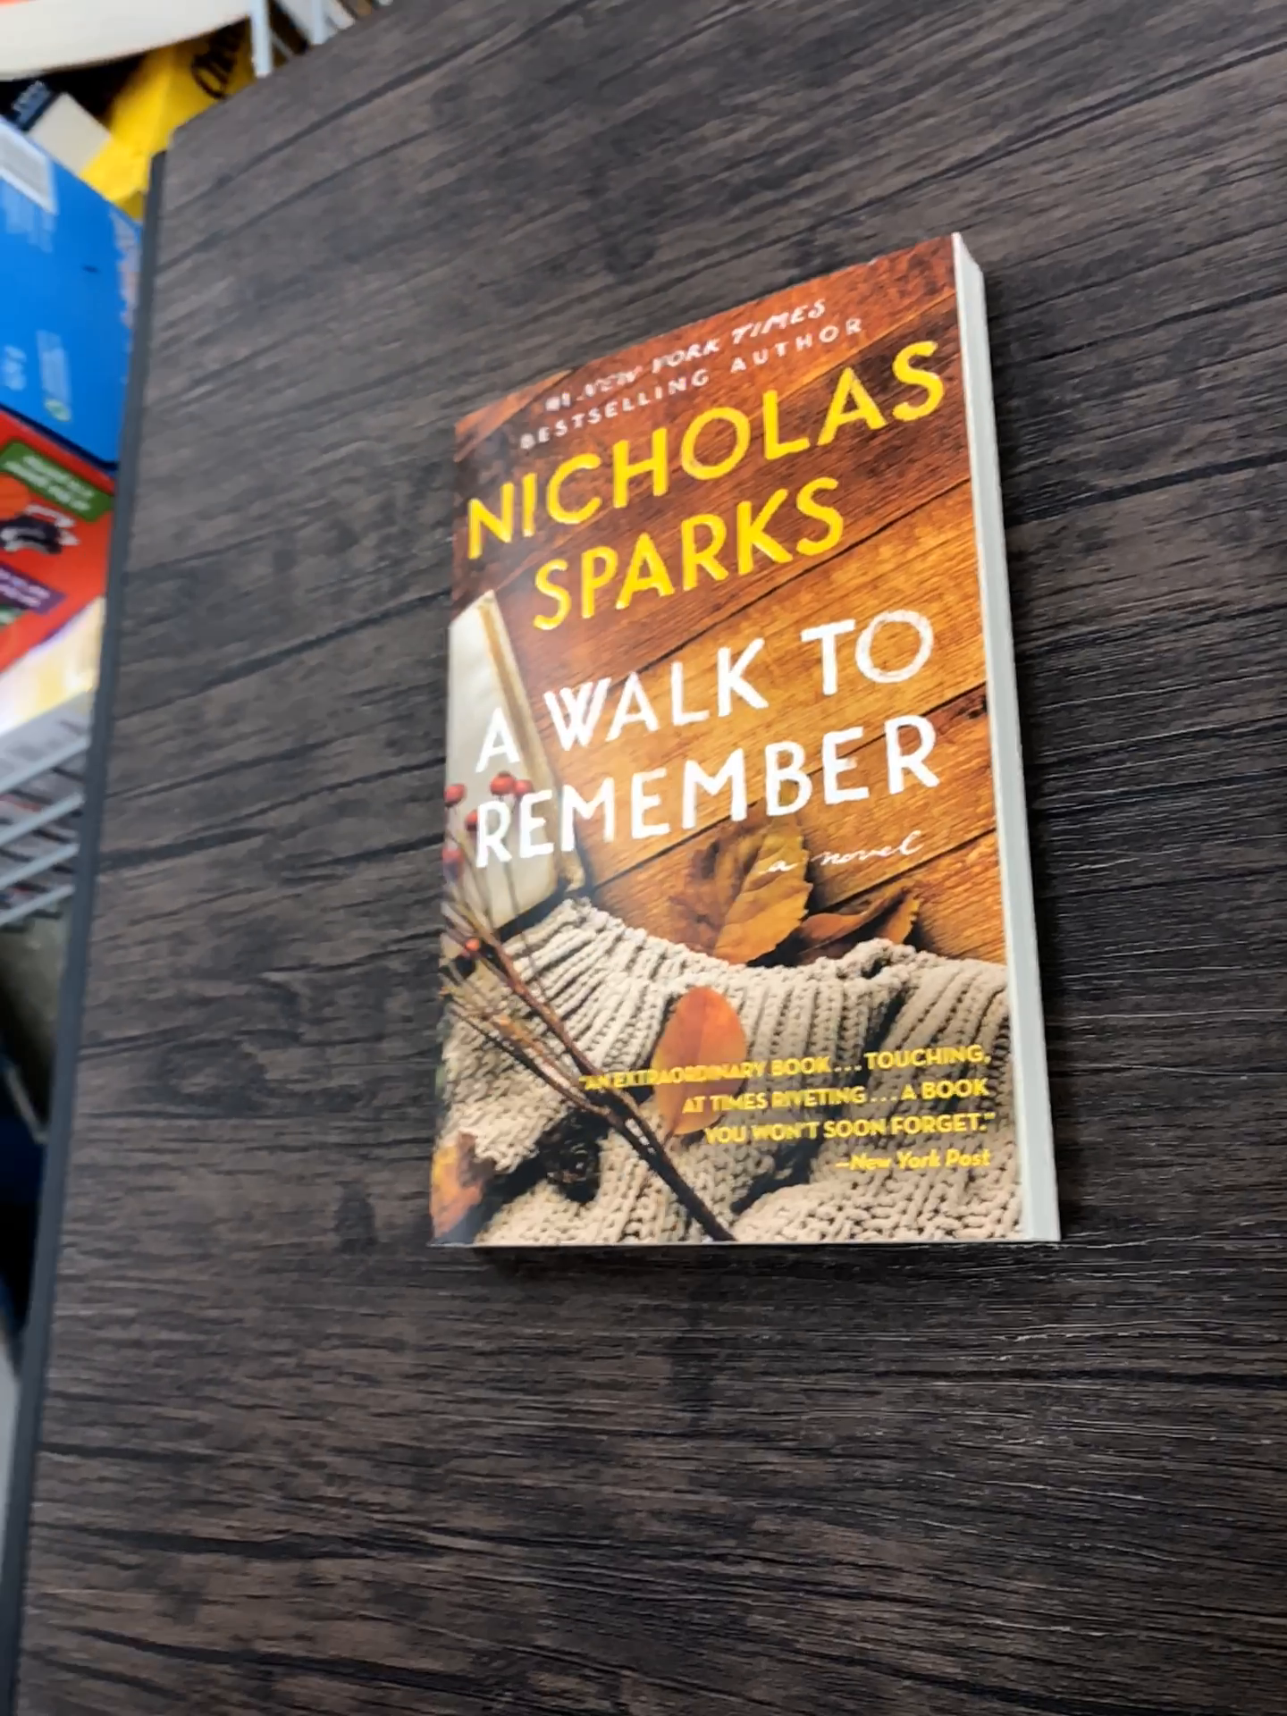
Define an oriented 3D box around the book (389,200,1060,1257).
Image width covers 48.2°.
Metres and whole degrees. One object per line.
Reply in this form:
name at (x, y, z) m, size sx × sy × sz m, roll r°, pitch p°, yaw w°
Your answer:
book at (0.009, -0.022, 0.298) m, size 0.132 × 0.020 × 0.200 m, roll -10°, pitch 72°, yaw 30°
